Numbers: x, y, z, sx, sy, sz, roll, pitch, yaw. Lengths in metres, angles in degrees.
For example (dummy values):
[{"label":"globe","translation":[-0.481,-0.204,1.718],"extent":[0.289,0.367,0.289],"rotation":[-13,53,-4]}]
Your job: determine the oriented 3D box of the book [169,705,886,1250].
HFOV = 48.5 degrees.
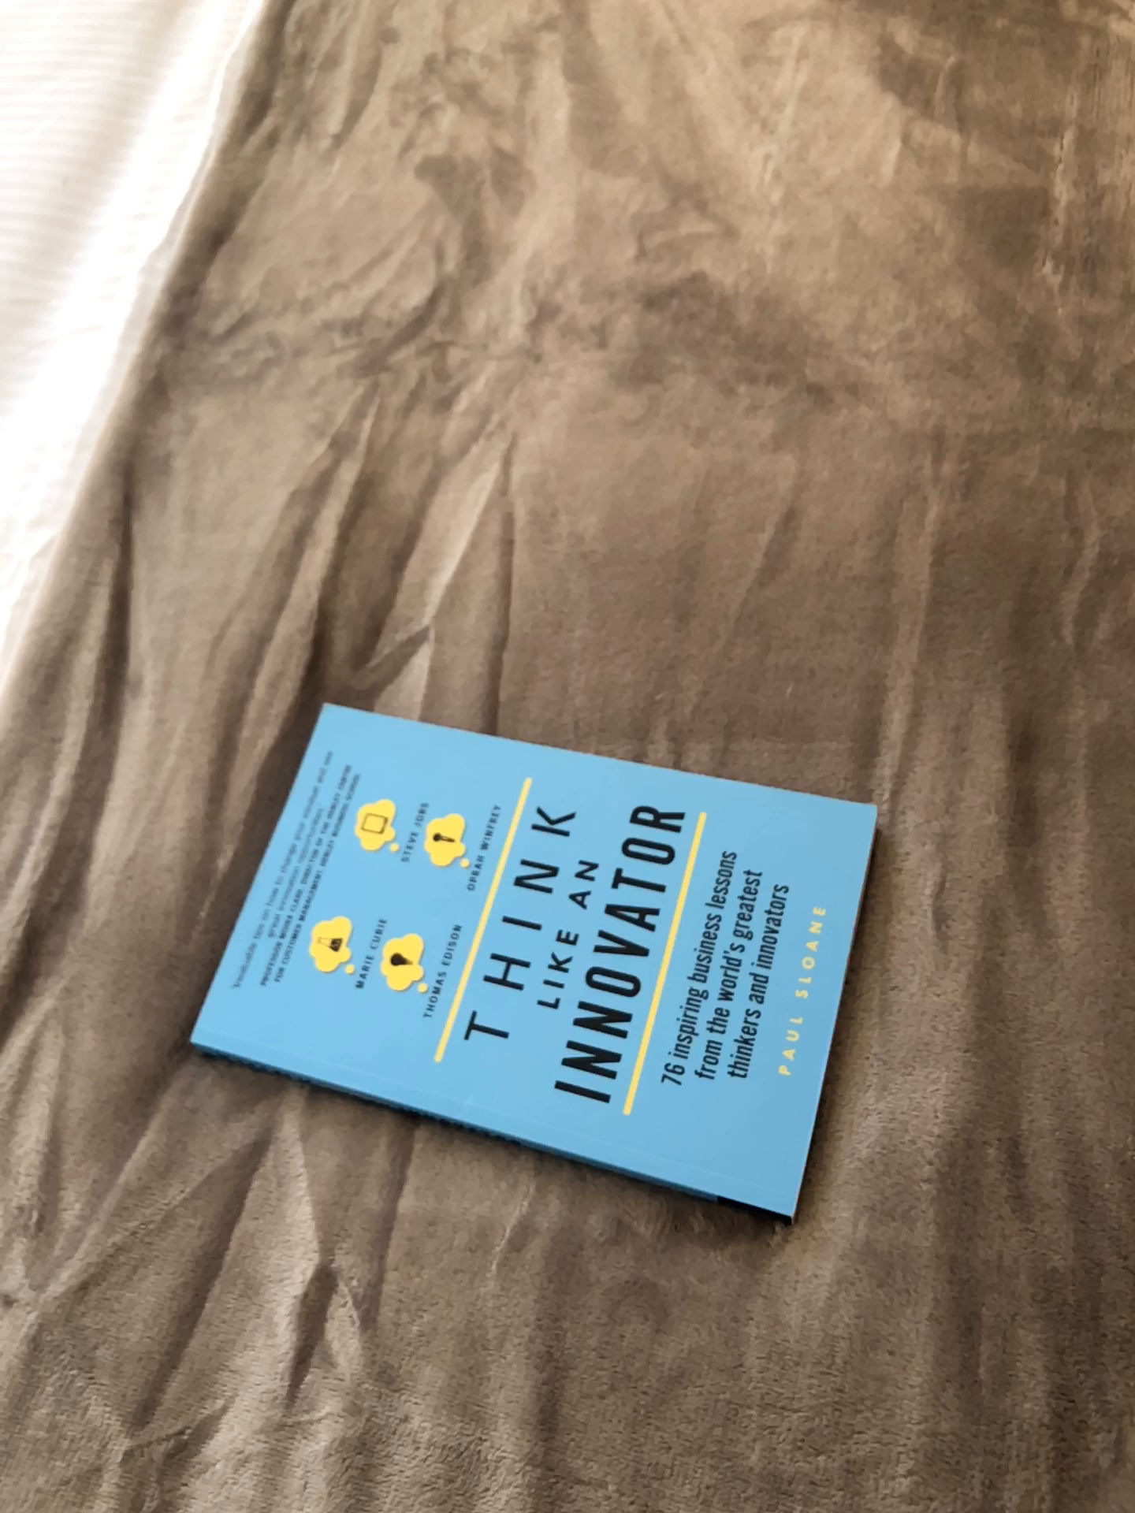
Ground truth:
[{"label":"book","translation":[-0.014,0.067,0.437],"extent":[0.220,0.020,0.140],"rotation":[10,70,17]}]
